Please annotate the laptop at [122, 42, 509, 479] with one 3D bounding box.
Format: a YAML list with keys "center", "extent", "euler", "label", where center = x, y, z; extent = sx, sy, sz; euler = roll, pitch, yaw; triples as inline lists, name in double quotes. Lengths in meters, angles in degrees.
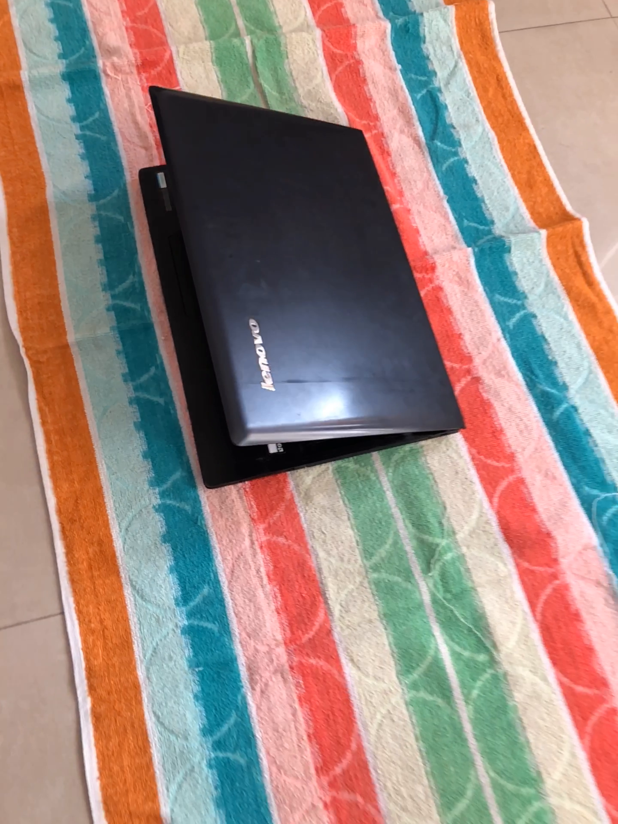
- center: [-0.007, -0.153, 0.652]
  extent: [0.253, 0.126, 0.364]
  euler: [-12, 72, -12]
  label: "laptop"
